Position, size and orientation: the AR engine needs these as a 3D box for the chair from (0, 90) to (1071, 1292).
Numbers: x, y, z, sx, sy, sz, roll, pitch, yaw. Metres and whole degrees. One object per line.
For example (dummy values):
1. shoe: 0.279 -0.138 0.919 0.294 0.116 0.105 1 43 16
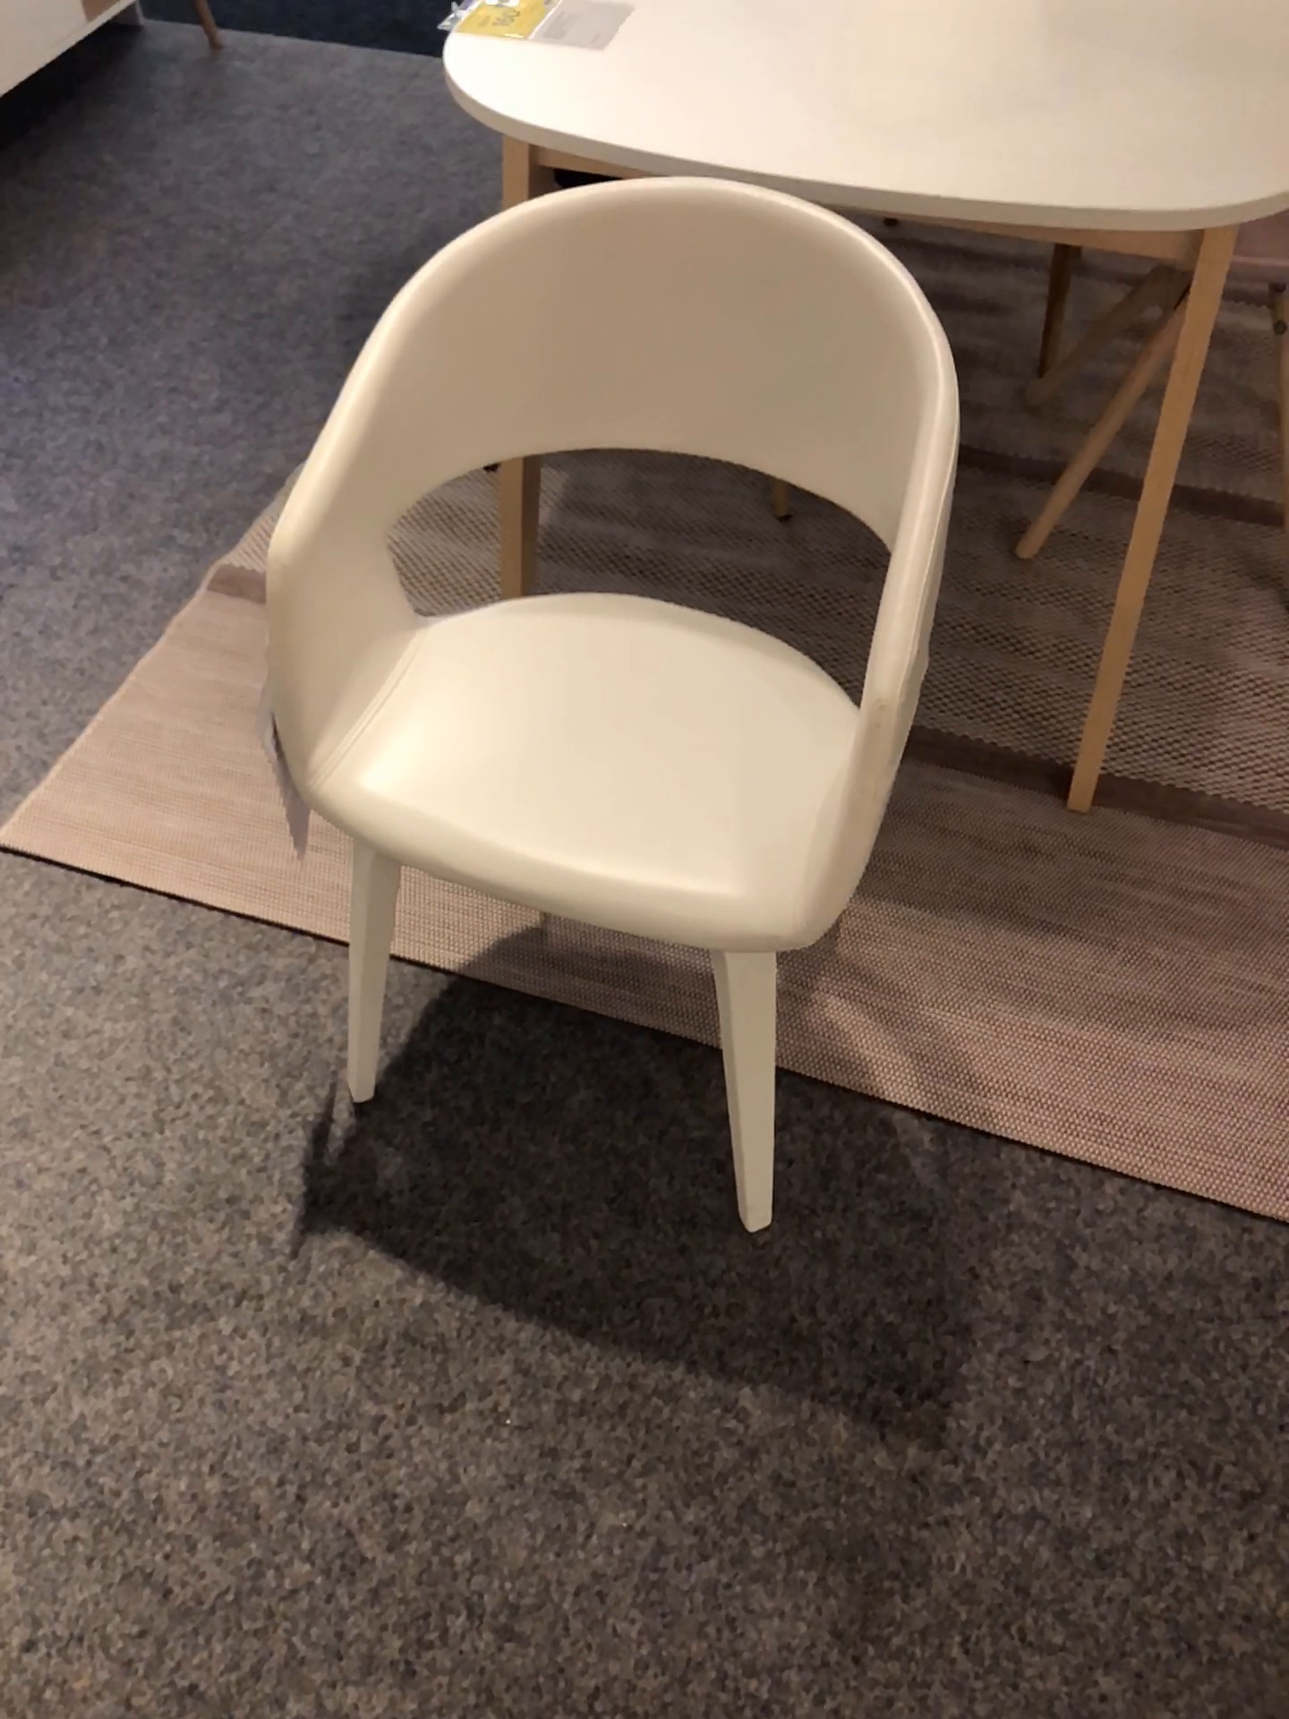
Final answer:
1. chair: -0.032 -0.118 1.227 0.550 0.756 0.563 15 52 12
